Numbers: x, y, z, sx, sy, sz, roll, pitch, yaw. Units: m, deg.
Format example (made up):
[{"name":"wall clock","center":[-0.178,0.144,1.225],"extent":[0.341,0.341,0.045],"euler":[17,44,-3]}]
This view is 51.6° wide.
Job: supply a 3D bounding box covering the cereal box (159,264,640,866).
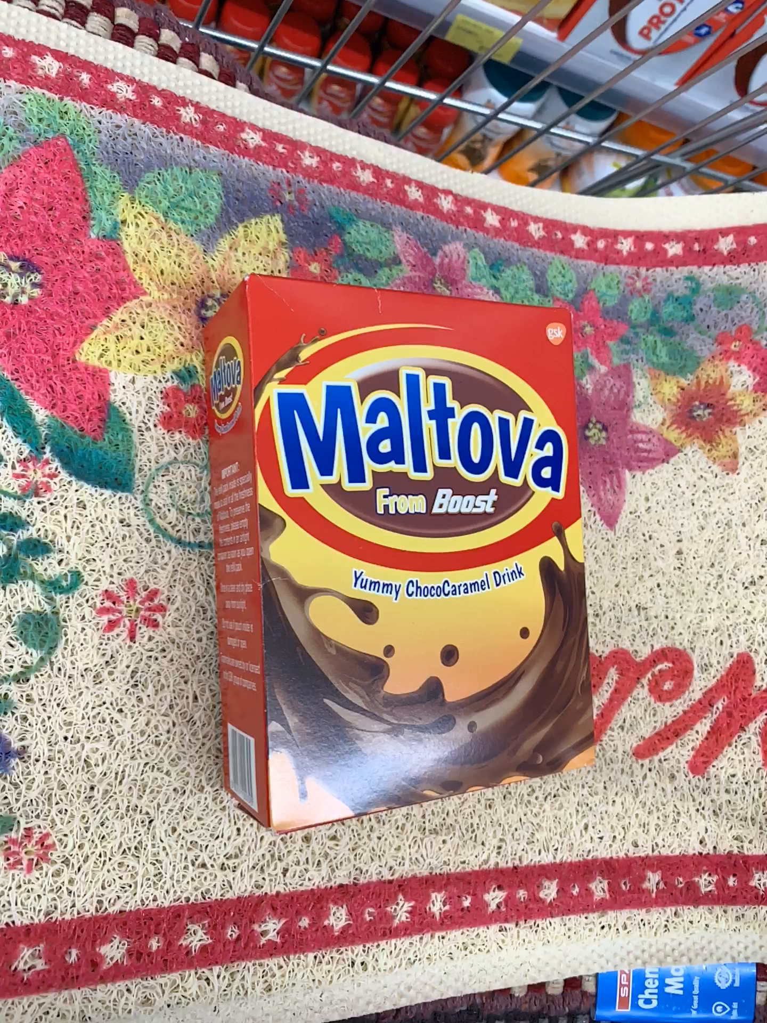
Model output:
[{"name":"cereal box","center":[0.006,0.013,0.278],"extent":[0.150,0.050,0.170],"euler":[-2,85,-24]}]
